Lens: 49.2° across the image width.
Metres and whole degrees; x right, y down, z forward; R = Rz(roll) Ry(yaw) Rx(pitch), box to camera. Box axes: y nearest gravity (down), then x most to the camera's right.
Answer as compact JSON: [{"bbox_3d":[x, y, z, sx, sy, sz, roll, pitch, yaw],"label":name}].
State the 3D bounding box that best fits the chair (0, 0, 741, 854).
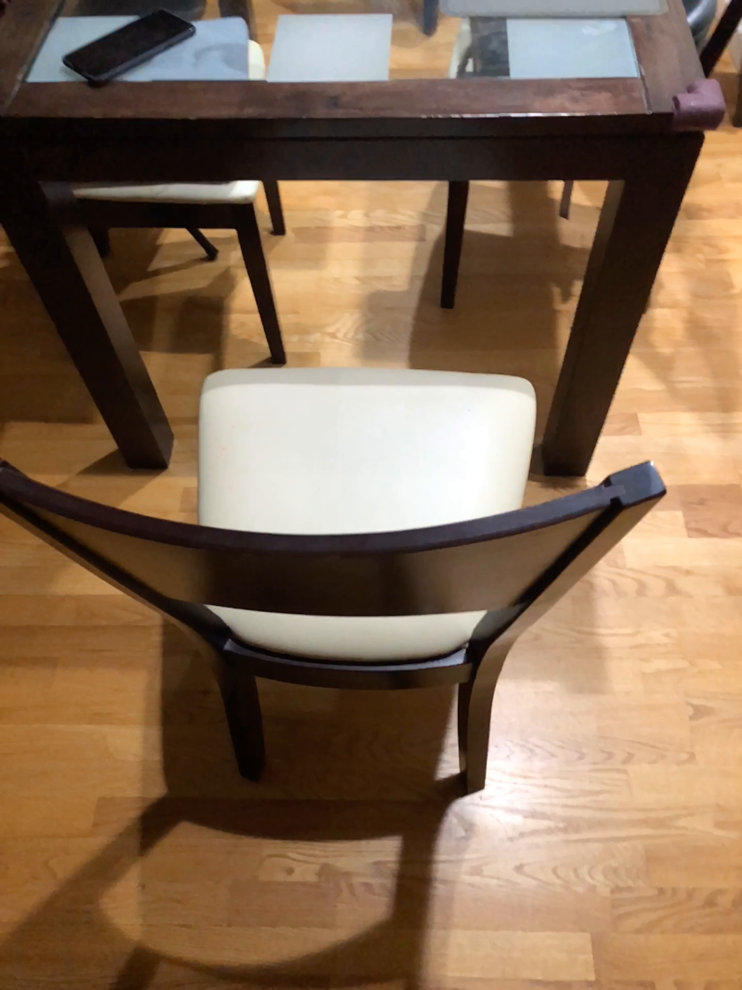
[{"bbox_3d":[-0.022,0.029,1.072,0.500,1.006,0.642,-2,56,1],"label":"chair"}]
